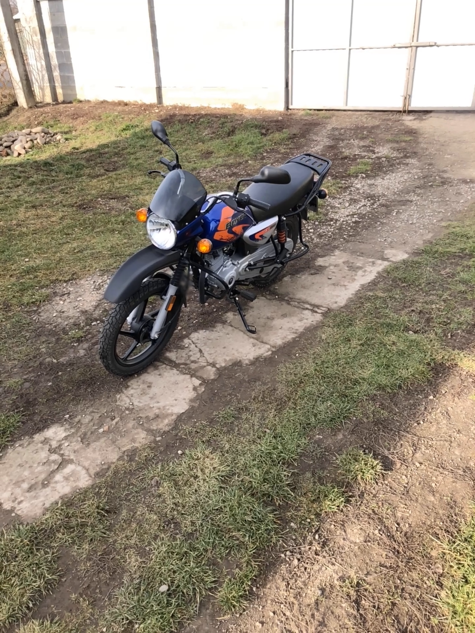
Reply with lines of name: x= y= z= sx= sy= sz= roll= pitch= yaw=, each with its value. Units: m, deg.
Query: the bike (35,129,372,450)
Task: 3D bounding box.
bike: x=-0.041 y=-0.329 z=3.005 sx=0.808 sy=1.050 sz=1.788 roll=19 pitch=37 yaw=33
